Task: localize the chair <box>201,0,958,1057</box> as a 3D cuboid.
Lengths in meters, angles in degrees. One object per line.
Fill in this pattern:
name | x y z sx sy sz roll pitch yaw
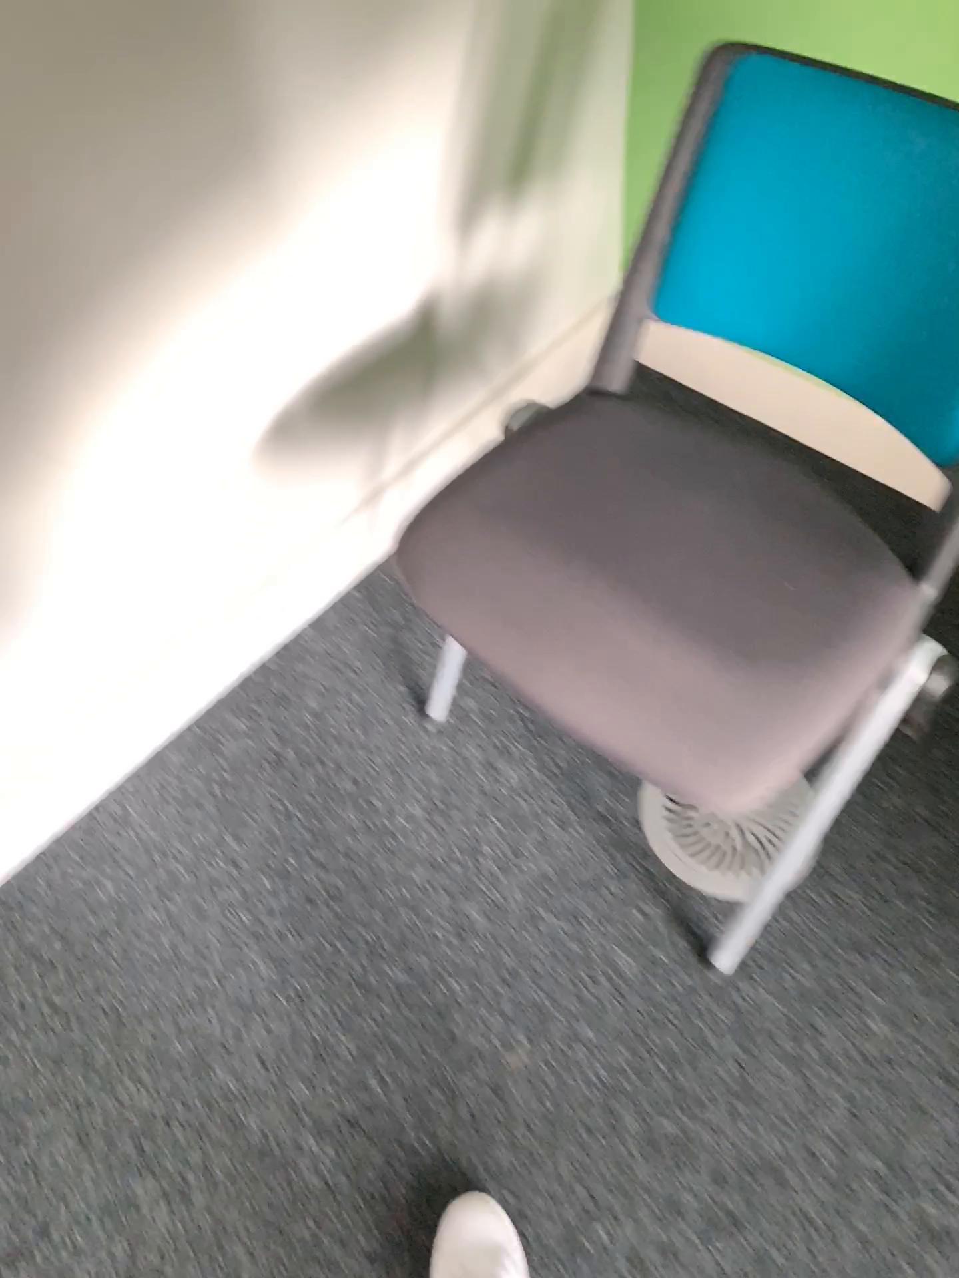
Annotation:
chair | 0.229 -0.100 0.924 0.583 0.664 0.552 36 66 25
